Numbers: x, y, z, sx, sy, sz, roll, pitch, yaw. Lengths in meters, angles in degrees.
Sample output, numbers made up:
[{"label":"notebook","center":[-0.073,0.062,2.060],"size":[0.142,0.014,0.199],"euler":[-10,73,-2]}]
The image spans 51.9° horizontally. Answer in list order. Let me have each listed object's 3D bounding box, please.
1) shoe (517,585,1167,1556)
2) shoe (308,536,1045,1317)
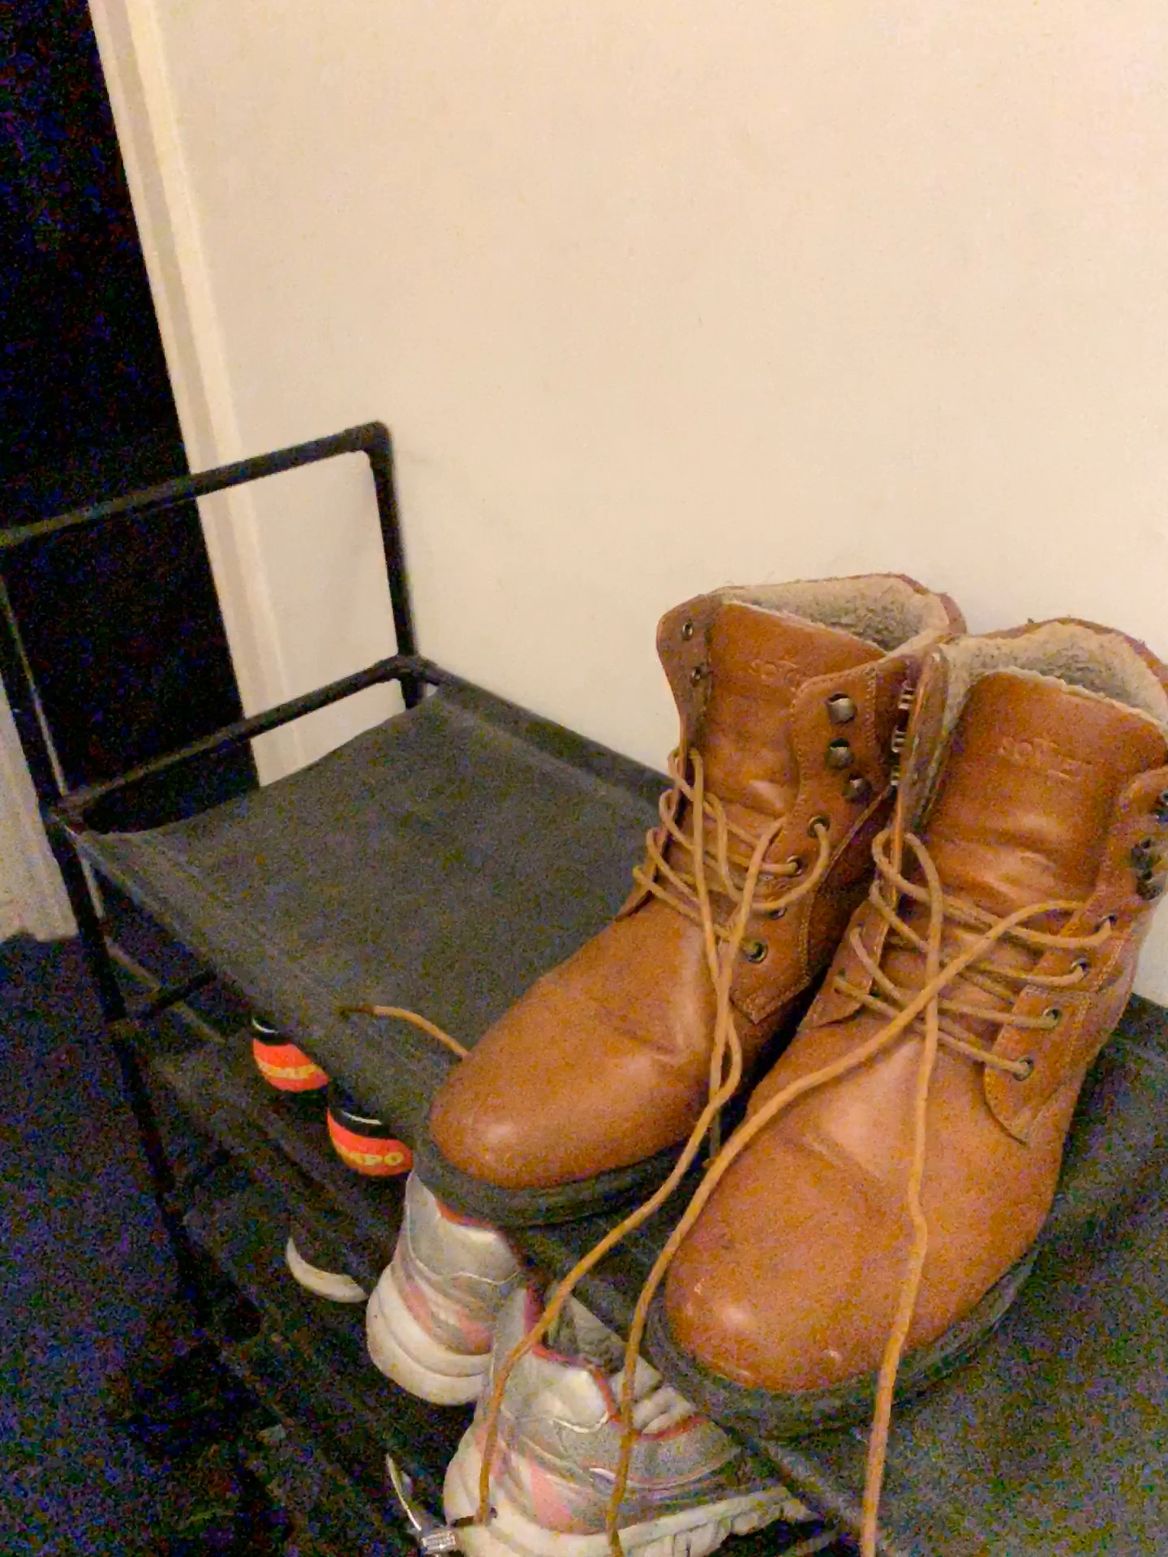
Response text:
[{"label":"shoe","center":[0.110,0.077,0.408],"size":[0.110,0.198,0.241],"euler":[24,41,38]},{"label":"shoe","center":[0.049,0.043,0.498],"size":[0.271,0.198,0.111],"euler":[-25,37,-31]}]
